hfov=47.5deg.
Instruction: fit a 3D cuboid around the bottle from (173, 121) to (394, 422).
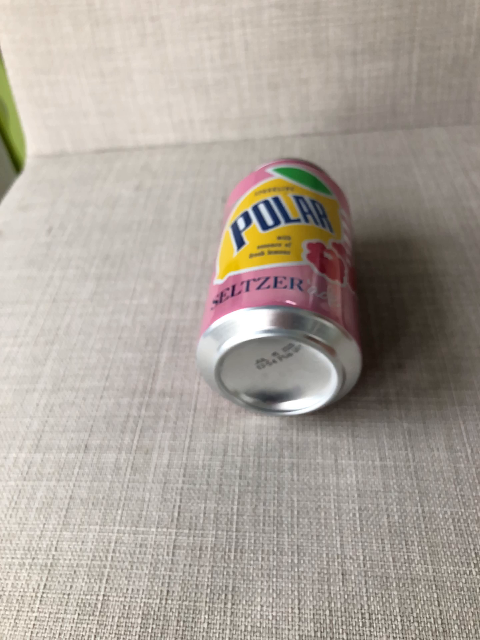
[{"bbox_3d":[0.020,-0.026,0.239,0.070,0.065,0.123,-1,45,7],"label":"bottle"}]
